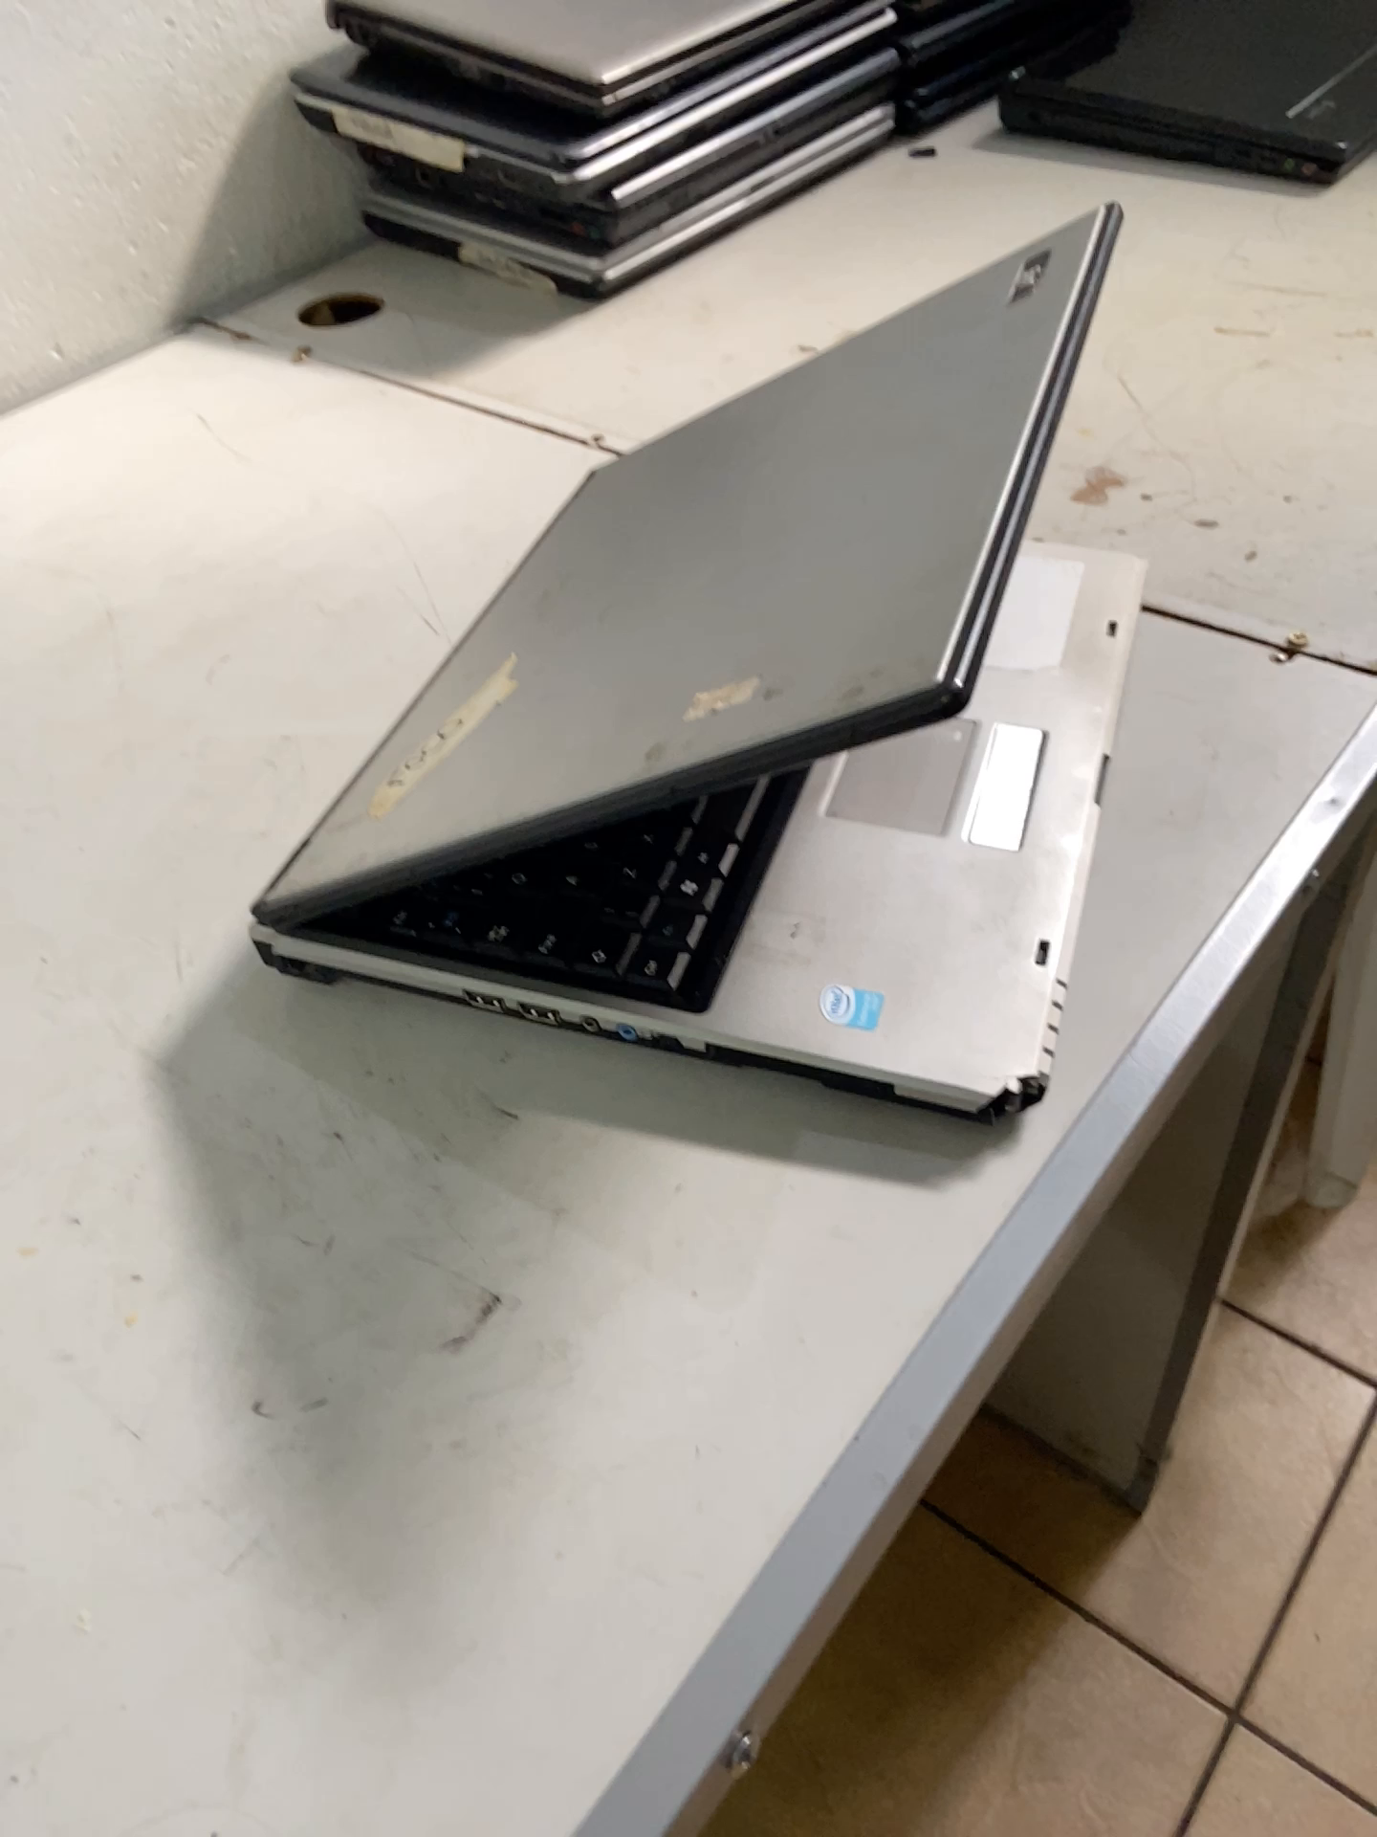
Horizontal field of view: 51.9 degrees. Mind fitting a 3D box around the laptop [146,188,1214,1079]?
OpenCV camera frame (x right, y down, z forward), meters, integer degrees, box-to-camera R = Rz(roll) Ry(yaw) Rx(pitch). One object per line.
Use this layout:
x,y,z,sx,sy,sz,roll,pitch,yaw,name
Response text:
0.028,-0.131,0.515,0.253,0.130,0.318,12,48,16,laptop
